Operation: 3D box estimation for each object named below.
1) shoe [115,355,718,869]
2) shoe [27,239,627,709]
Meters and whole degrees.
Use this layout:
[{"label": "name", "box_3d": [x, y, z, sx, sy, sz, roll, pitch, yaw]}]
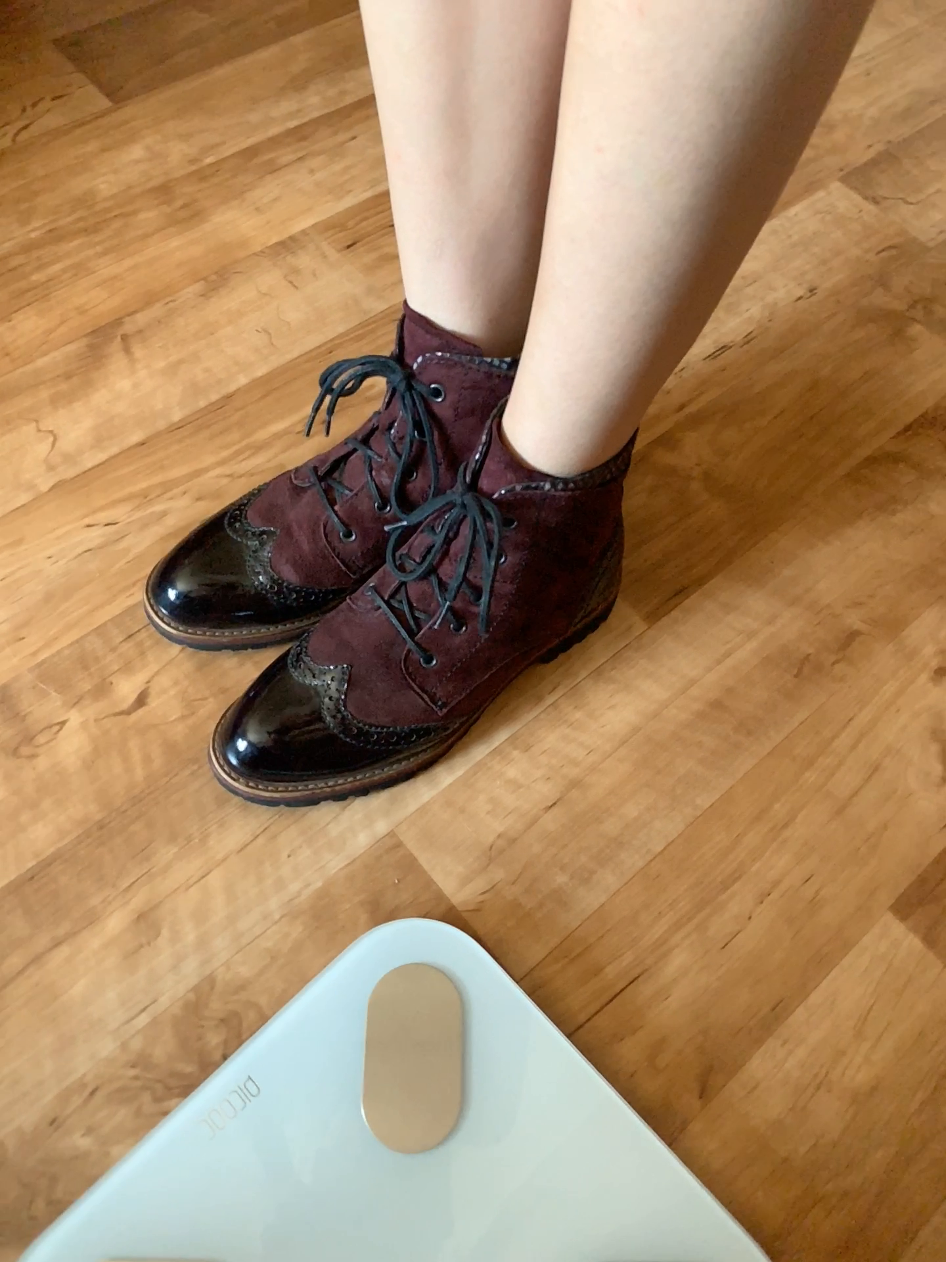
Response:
[{"label": "shoe", "box_3d": [-0.023, -0.010, 0.496, 0.260, 0.140, 0.100, -31, 69, -20]}, {"label": "shoe", "box_3d": [-0.068, -0.083, 0.514, 0.260, 0.140, 0.100, -25, 67, -18]}]
